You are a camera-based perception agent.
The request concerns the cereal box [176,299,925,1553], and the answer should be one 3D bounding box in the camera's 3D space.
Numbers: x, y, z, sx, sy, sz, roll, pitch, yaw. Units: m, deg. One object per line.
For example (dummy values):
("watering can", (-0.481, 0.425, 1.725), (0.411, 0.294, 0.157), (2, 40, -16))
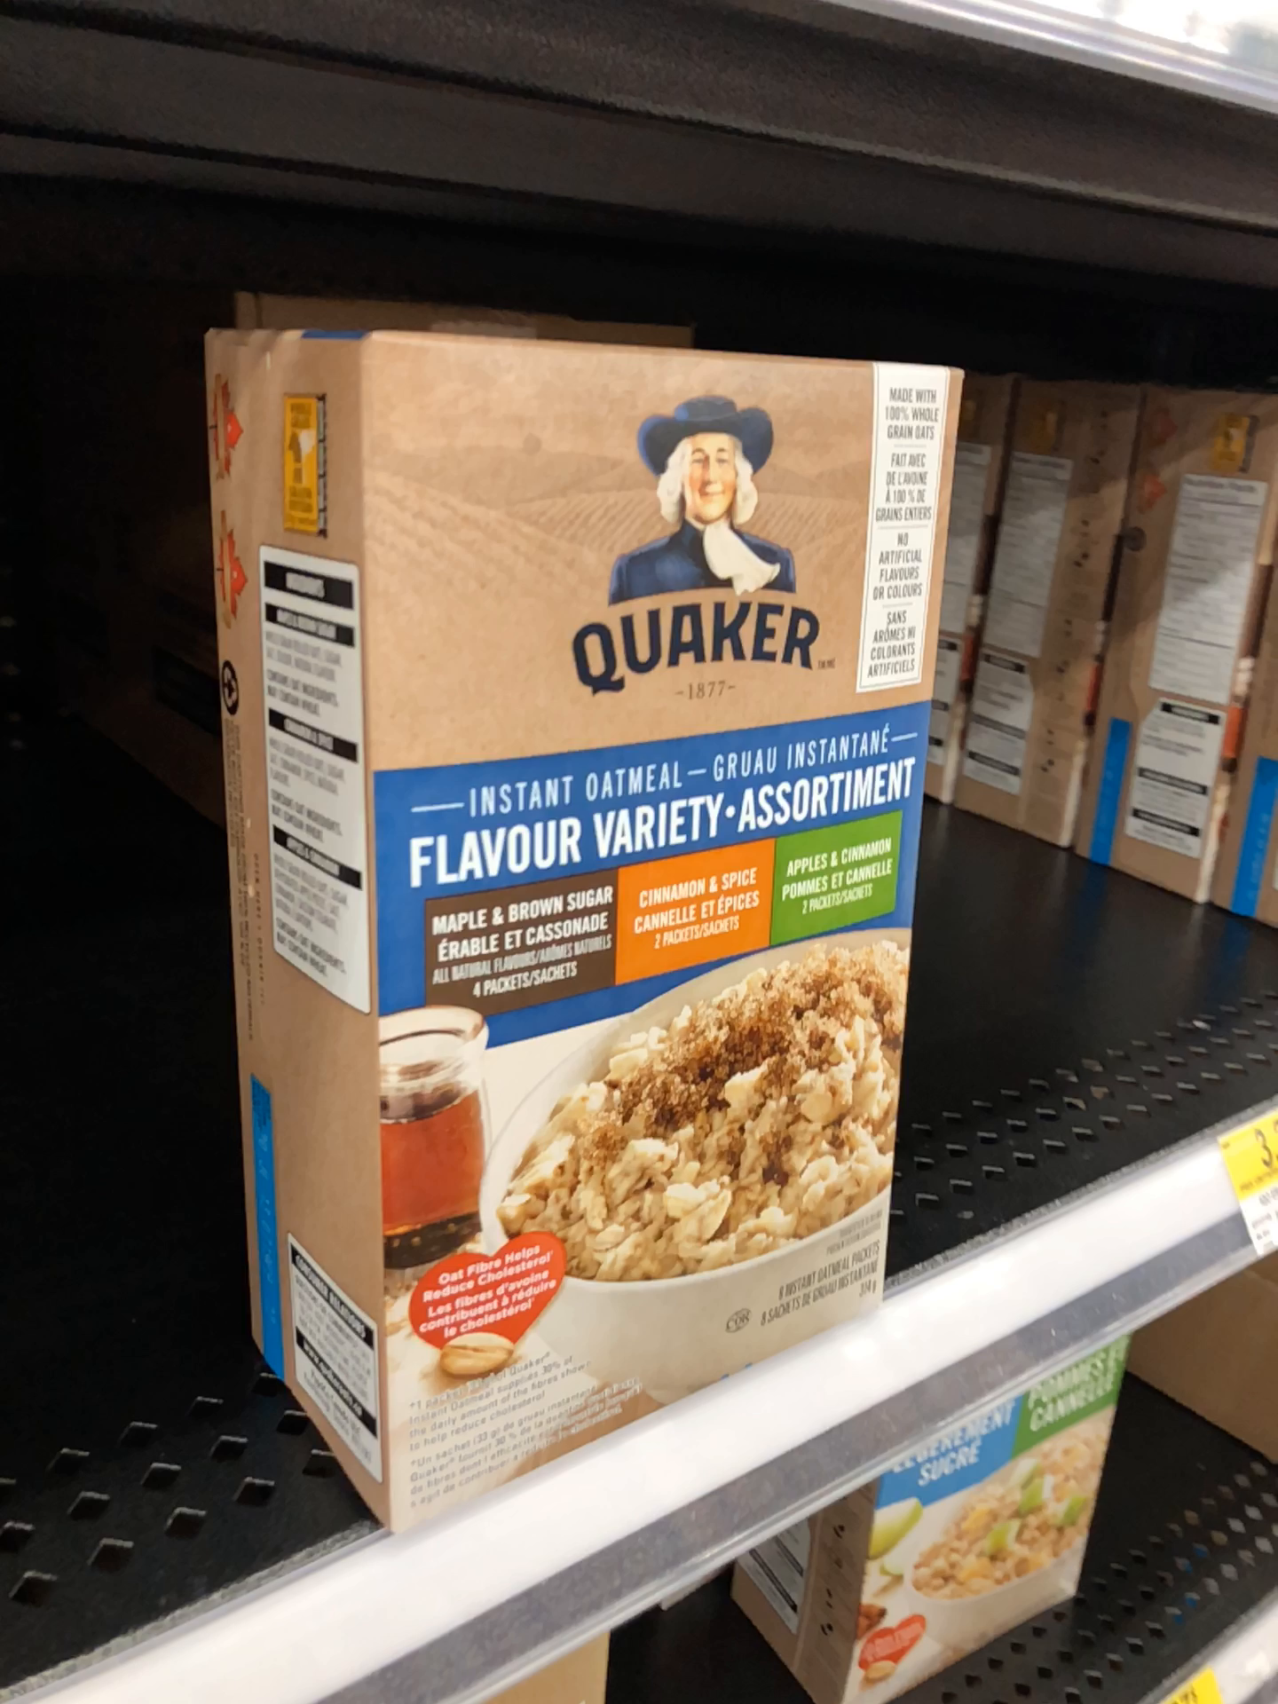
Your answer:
("cereal box", (-0.015, 0.007, 0.281), (0.120, 0.209, 0.060), (-11, 21, -36))
